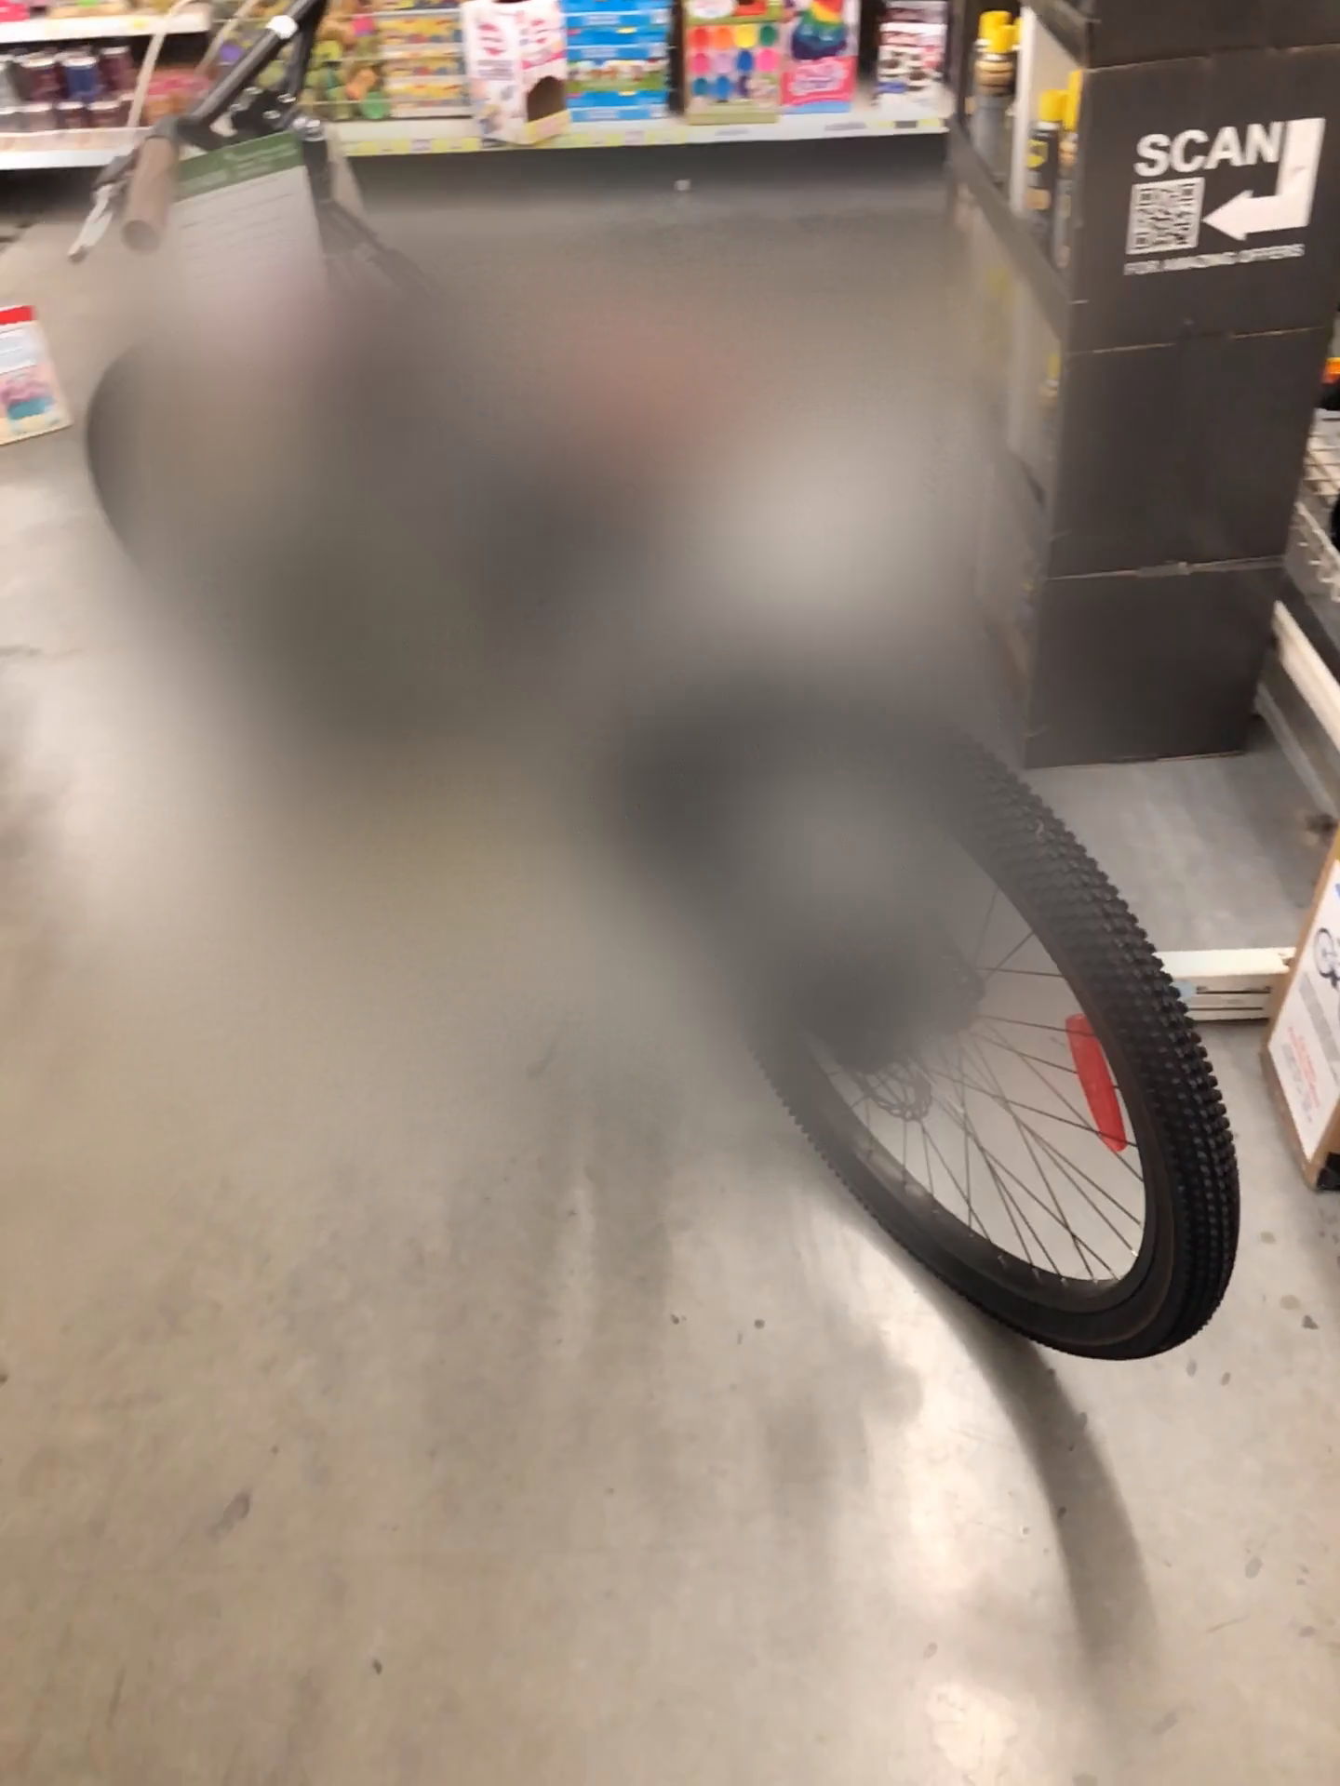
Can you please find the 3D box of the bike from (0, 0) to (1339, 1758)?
[{"bbox_3d":[-0.220,-0.306,1.270,0.653,0.975,1.588,-32,54,-29],"label":"bike"}]
